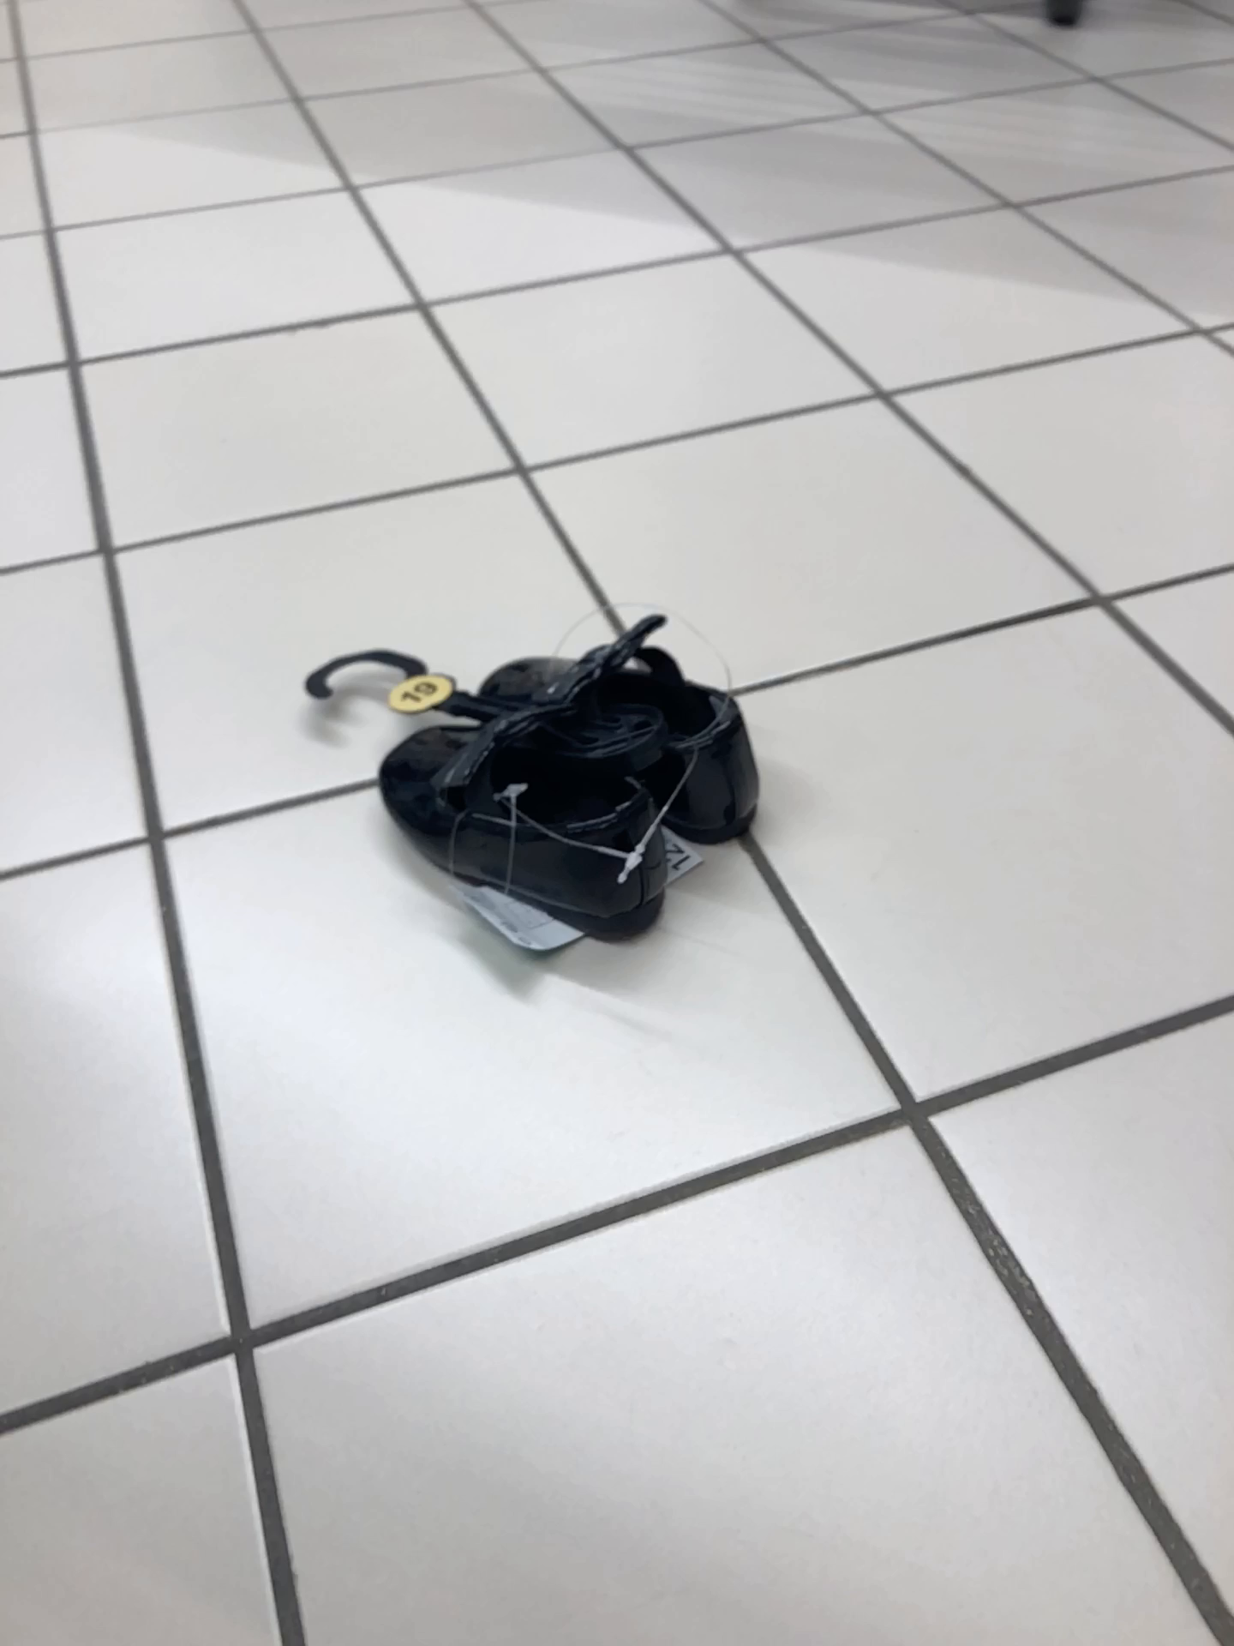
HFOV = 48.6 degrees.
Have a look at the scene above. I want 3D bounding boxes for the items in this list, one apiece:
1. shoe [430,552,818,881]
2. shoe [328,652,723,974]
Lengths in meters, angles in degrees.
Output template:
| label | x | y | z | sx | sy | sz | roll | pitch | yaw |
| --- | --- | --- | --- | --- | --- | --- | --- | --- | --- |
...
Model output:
| label | x | y | z | sx | sy | sz | roll | pitch | yaw |
| --- | --- | --- | --- | --- | --- | --- | --- | --- | --- |
| shoe | 0.001 | -0.042 | 0.498 | 0.125 | 0.052 | 0.061 | 28 | 51 | 27 |
| shoe | -0.032 | -0.007 | 0.473 | 0.123 | 0.037 | 0.061 | 28 | 51 | 27 |
